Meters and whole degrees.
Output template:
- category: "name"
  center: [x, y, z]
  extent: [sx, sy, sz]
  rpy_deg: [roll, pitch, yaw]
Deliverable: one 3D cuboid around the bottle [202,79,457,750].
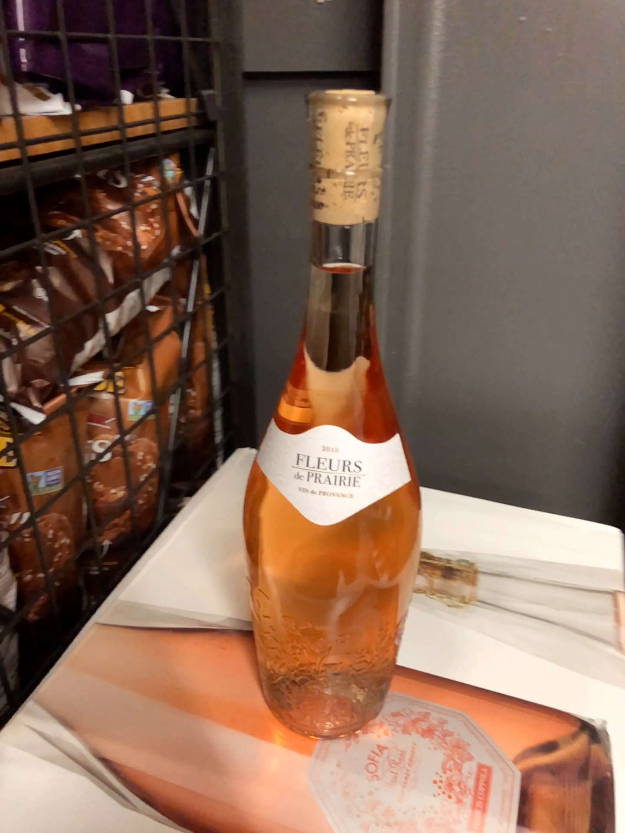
- category: "bottle"
  center: [0.012, 0.010, 0.322]
  extent: [0.080, 0.299, 0.090]
  rpy_deg: [3, 27, 8]
